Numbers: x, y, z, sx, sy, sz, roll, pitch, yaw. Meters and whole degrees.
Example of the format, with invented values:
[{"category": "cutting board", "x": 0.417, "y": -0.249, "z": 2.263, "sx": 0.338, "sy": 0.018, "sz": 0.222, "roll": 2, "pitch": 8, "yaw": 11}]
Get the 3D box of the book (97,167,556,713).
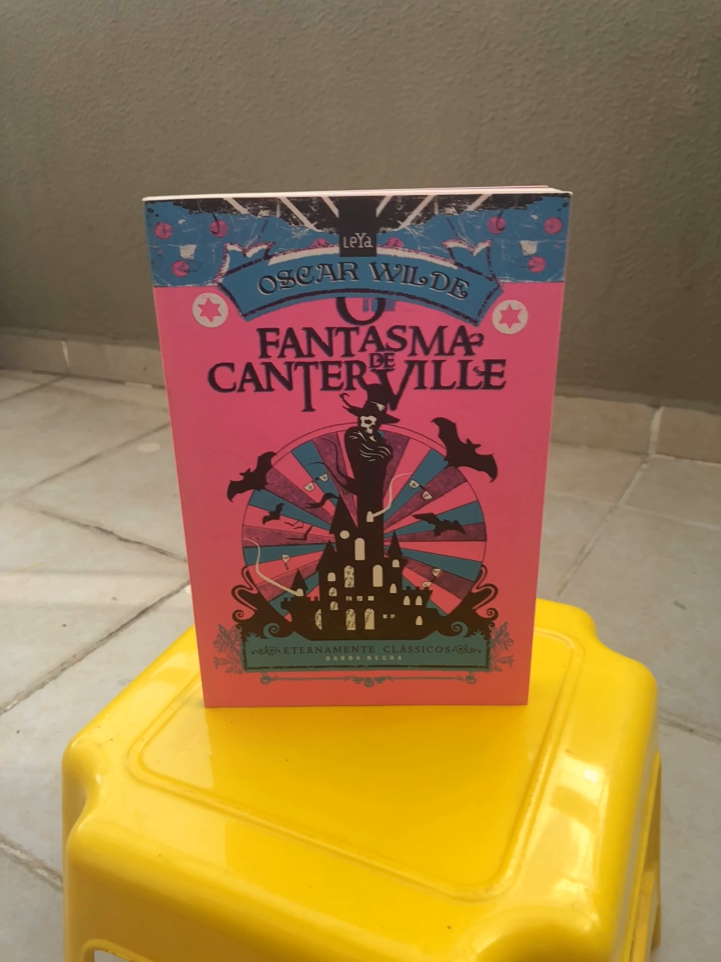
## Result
[{"category": "book", "x": -0.007, "y": -0.003, "z": 0.316, "sx": 0.150, "sy": 0.219, "sz": 0.020, "roll": -2, "pitch": 25, "yaw": 2}]
